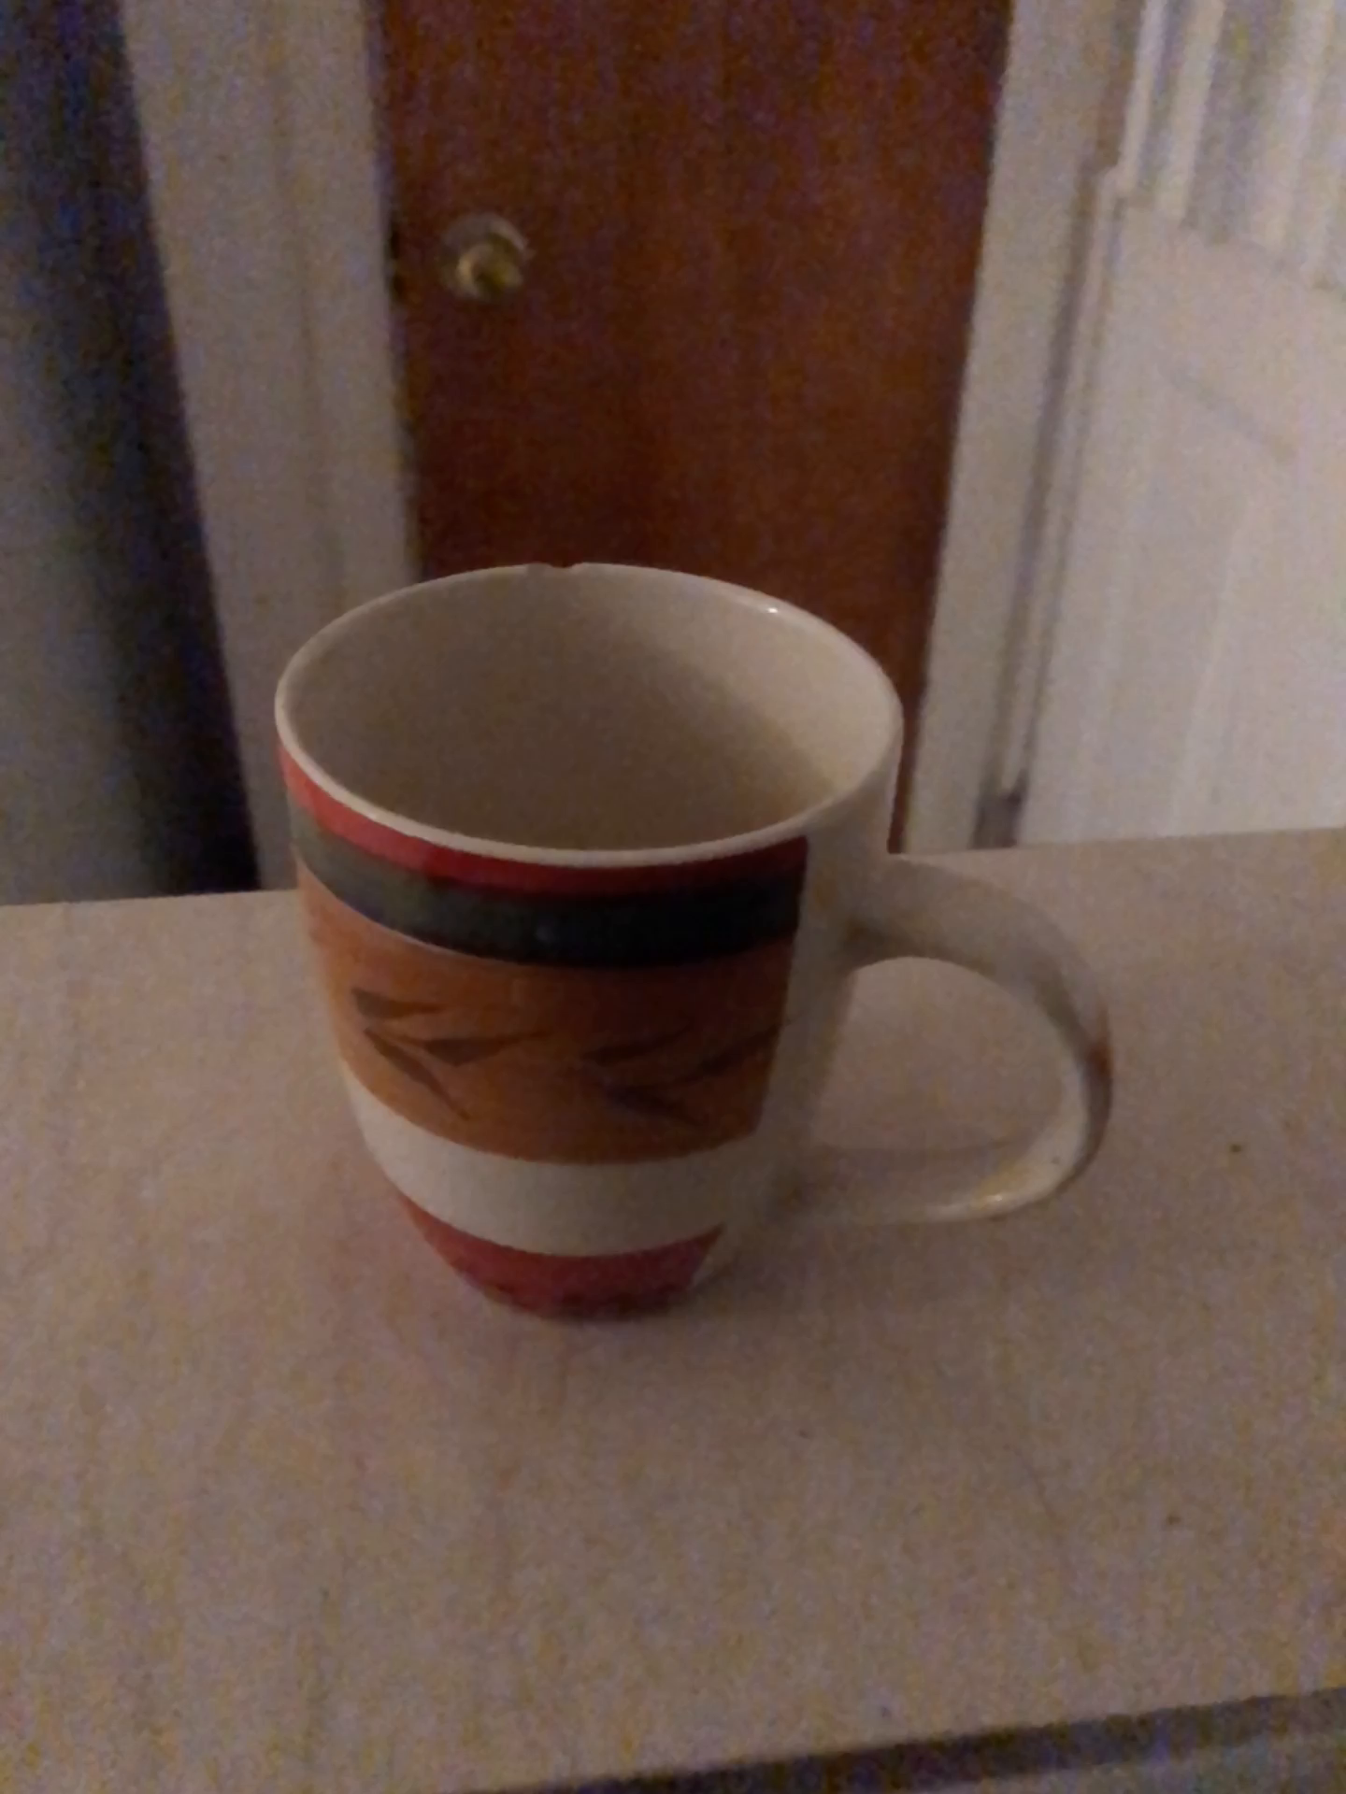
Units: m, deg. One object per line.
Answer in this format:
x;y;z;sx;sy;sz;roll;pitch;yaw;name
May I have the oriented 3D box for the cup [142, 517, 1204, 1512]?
0.006;0.012;0.267;0.143;0.109;0.101;12;36;15;cup
